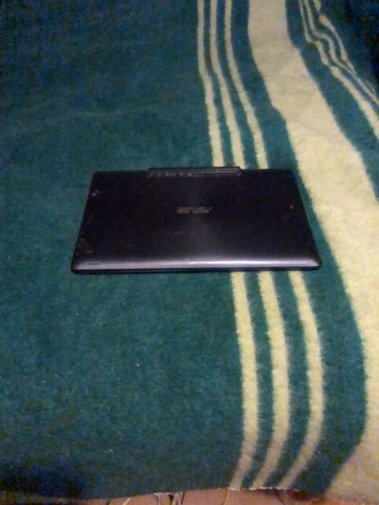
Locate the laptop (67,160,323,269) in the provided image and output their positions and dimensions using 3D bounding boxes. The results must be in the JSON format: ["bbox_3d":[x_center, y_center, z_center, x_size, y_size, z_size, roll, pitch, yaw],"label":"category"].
[{"bbox_3d":[0.006,-0.052,0.490,0.262,0.017,0.168,-1,46,-1],"label":"laptop"}]
